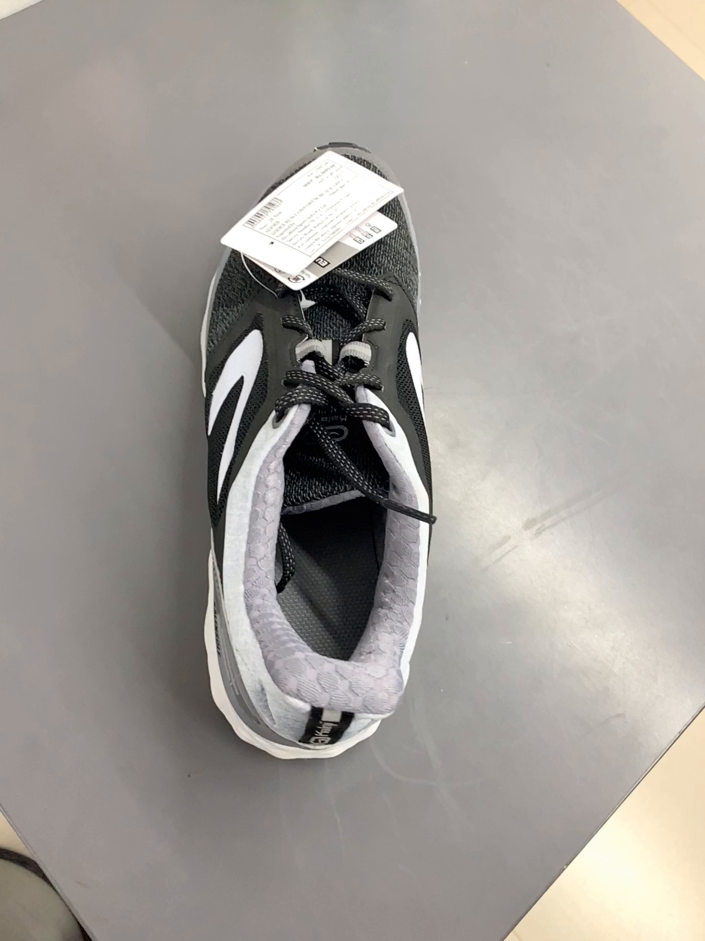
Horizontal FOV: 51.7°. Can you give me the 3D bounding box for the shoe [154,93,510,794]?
[{"bbox_3d":[-0.011,-0.011,0.283,0.100,0.090,0.240,2,72,-7],"label":"shoe"}]
